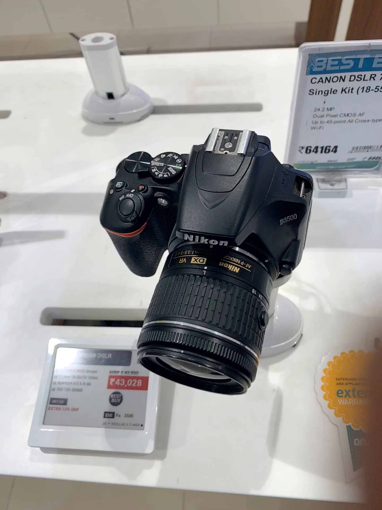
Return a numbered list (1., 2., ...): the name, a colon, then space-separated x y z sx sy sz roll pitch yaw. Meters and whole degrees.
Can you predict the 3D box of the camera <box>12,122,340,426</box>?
1. camera: 0.004 0.009 0.197 0.110 0.090 0.103 9 58 12
